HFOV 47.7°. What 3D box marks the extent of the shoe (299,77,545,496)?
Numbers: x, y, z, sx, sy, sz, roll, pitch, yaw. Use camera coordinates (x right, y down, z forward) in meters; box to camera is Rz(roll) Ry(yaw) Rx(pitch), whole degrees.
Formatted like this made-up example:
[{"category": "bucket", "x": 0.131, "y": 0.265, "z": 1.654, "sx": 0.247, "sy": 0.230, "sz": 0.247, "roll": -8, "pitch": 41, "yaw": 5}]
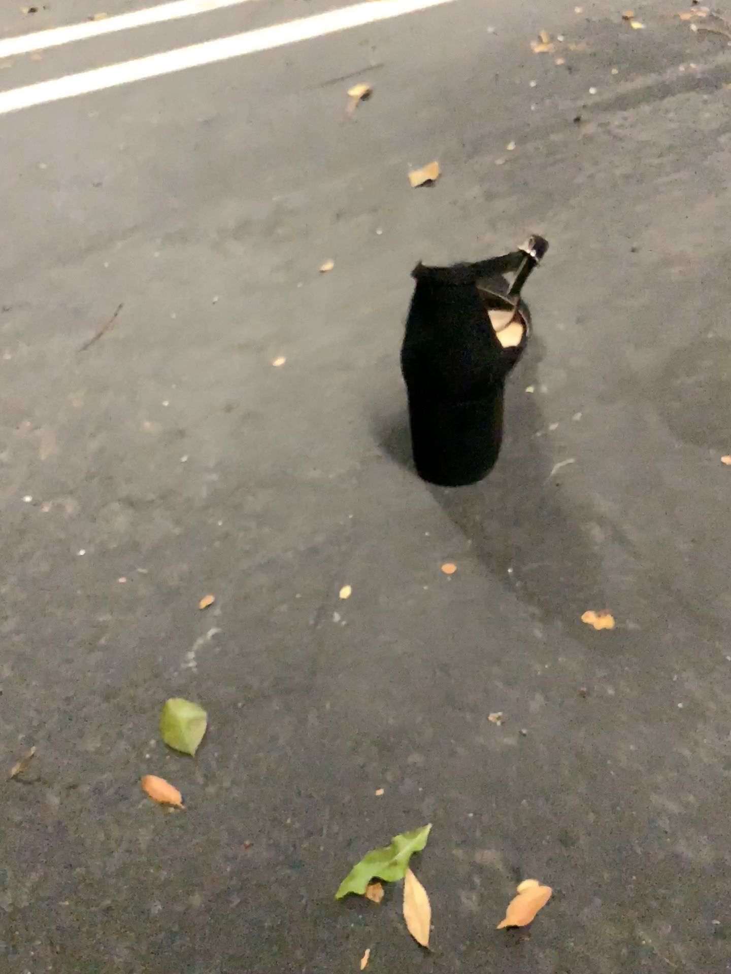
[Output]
[{"category": "shoe", "x": 0.056, "y": -0.140, "z": 0.549, "sx": 0.120, "sy": 0.140, "sz": 0.270, "roll": 0, "pitch": 46, "yaw": 13}]
